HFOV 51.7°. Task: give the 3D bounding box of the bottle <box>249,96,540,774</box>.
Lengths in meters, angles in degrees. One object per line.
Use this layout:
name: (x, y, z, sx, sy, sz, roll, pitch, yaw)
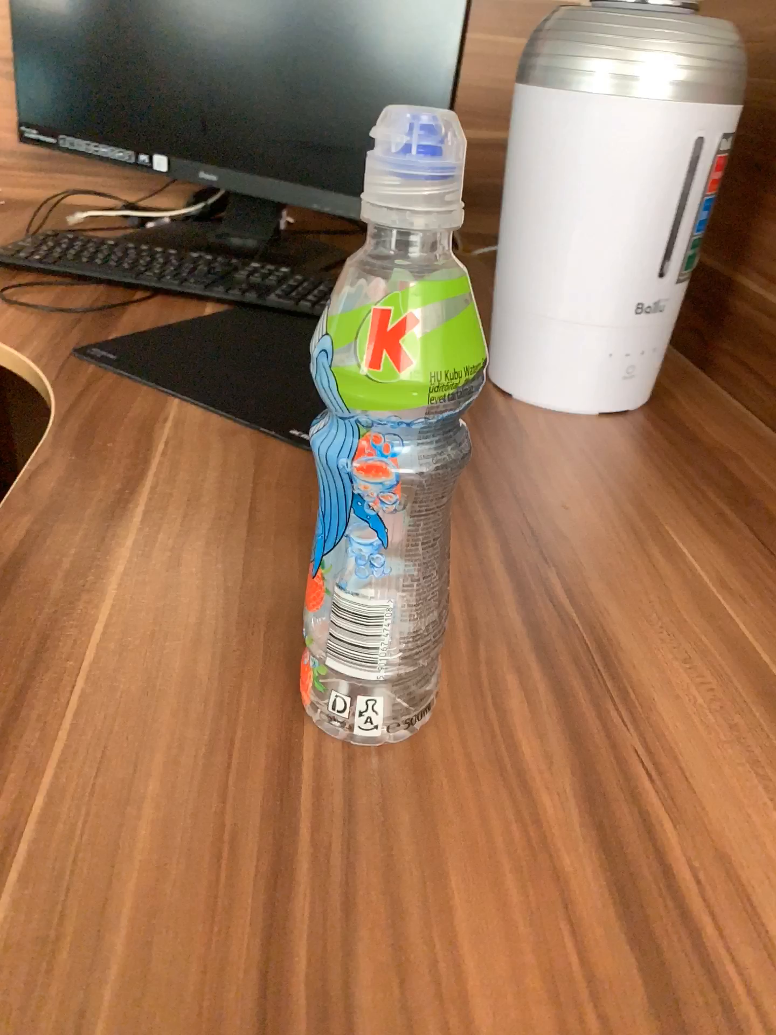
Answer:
bottle: (-0.005, -0.023, 0.307, 0.070, 0.239, 0.070, 4, 30, -2)
